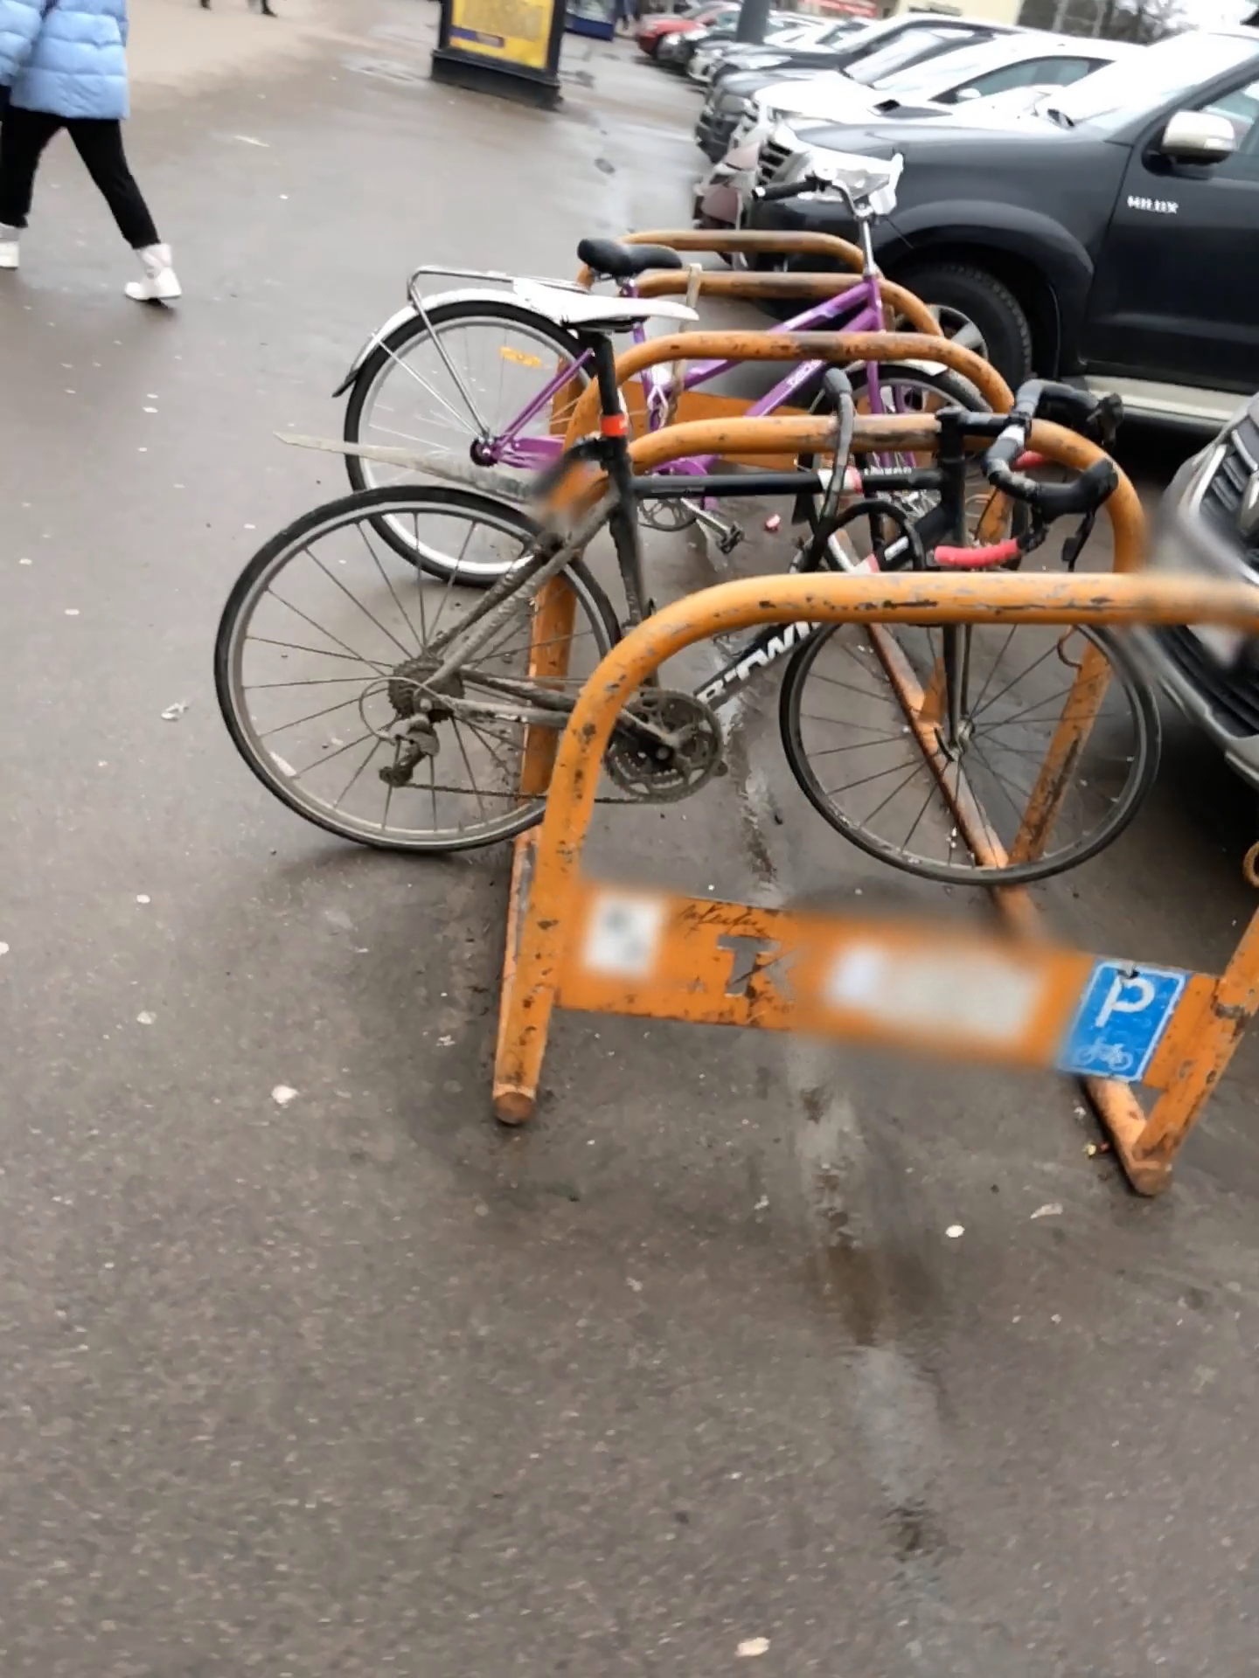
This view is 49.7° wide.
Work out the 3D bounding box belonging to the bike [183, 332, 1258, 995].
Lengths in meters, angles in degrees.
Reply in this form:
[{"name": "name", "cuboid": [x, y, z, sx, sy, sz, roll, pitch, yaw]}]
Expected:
[{"name": "bike", "cuboid": [0.116, -0.275, 2.180, 1.515, 0.761, 0.492, 6, 30, -5]}]
